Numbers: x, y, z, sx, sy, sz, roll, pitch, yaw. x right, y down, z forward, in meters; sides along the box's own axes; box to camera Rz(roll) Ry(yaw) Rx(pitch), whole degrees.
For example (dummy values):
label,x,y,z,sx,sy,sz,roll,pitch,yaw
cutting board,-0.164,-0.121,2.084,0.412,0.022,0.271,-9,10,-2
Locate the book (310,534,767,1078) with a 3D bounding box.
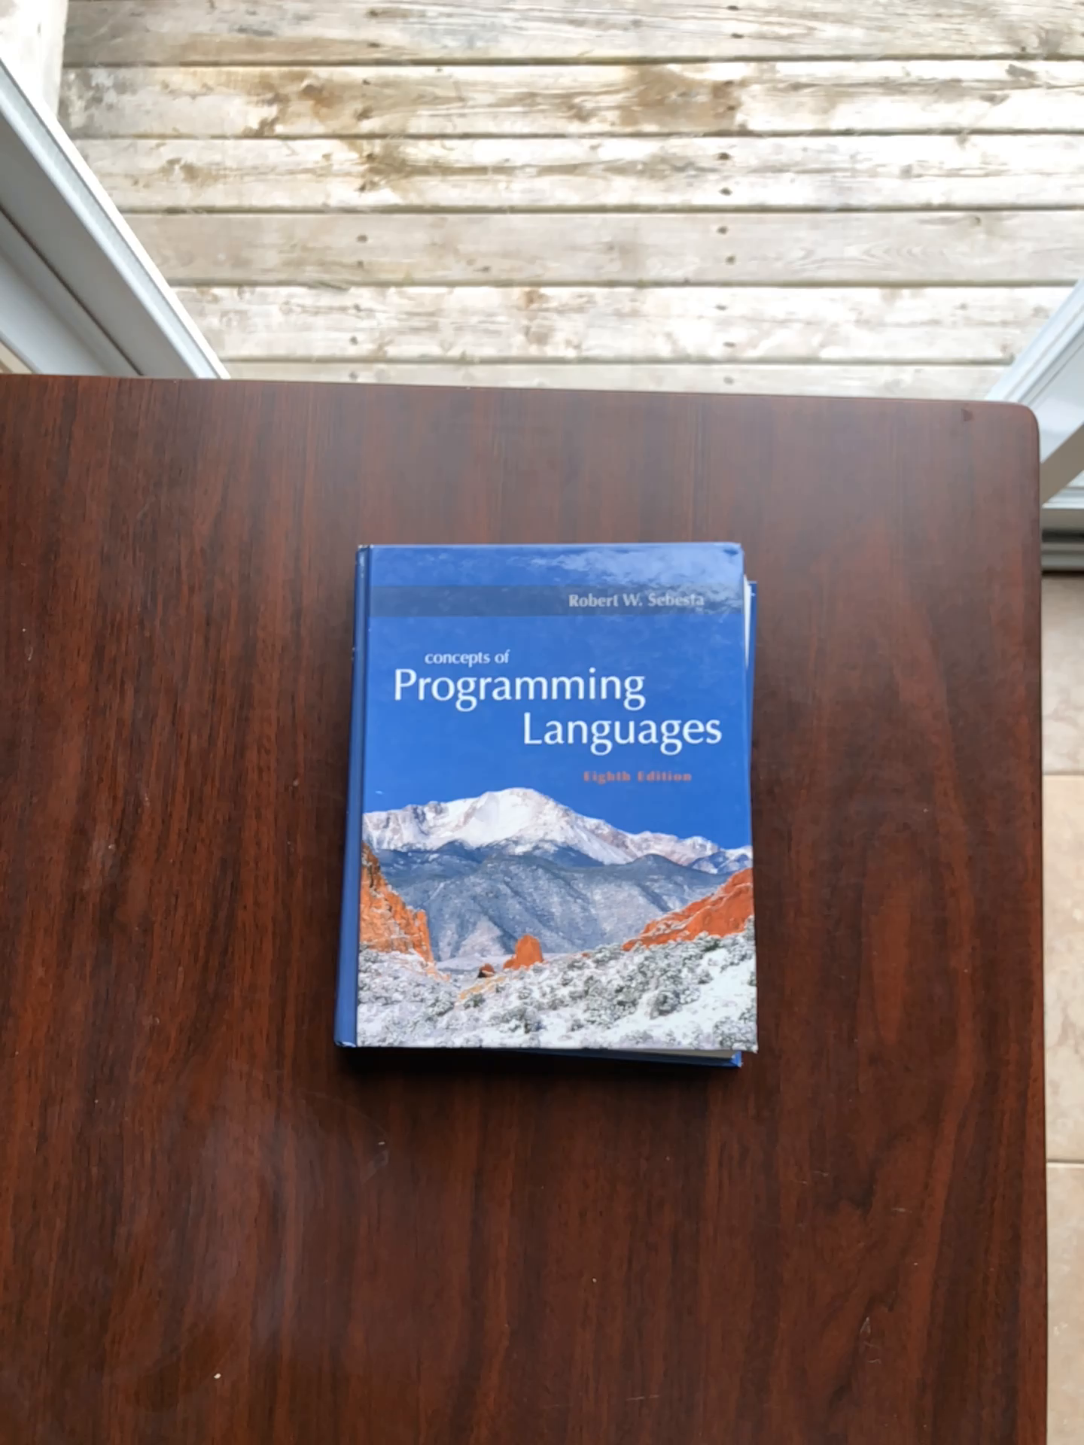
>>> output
label,x,y,z,sx,sy,sz,roll,pitch,yaw
book,0.002,0.036,0.560,0.195,0.049,0.236,2,82,2
